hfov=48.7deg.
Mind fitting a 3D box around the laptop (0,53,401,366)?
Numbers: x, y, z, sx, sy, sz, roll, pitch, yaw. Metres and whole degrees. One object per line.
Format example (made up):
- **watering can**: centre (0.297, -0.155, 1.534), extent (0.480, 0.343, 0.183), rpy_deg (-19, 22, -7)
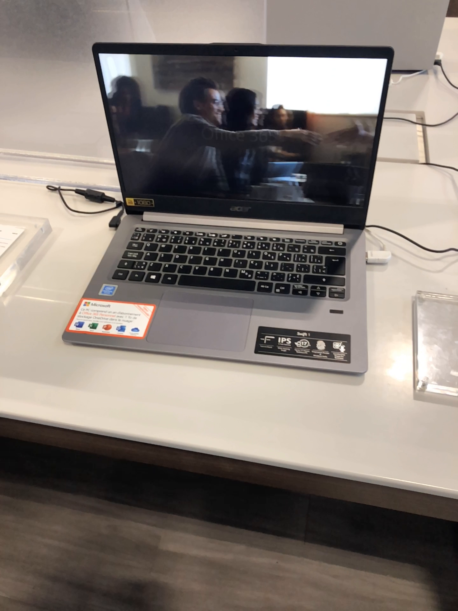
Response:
- **laptop**: centre (-0.007, -0.105, 0.519), extent (0.306, 0.205, 0.225), rpy_deg (5, 47, 8)
